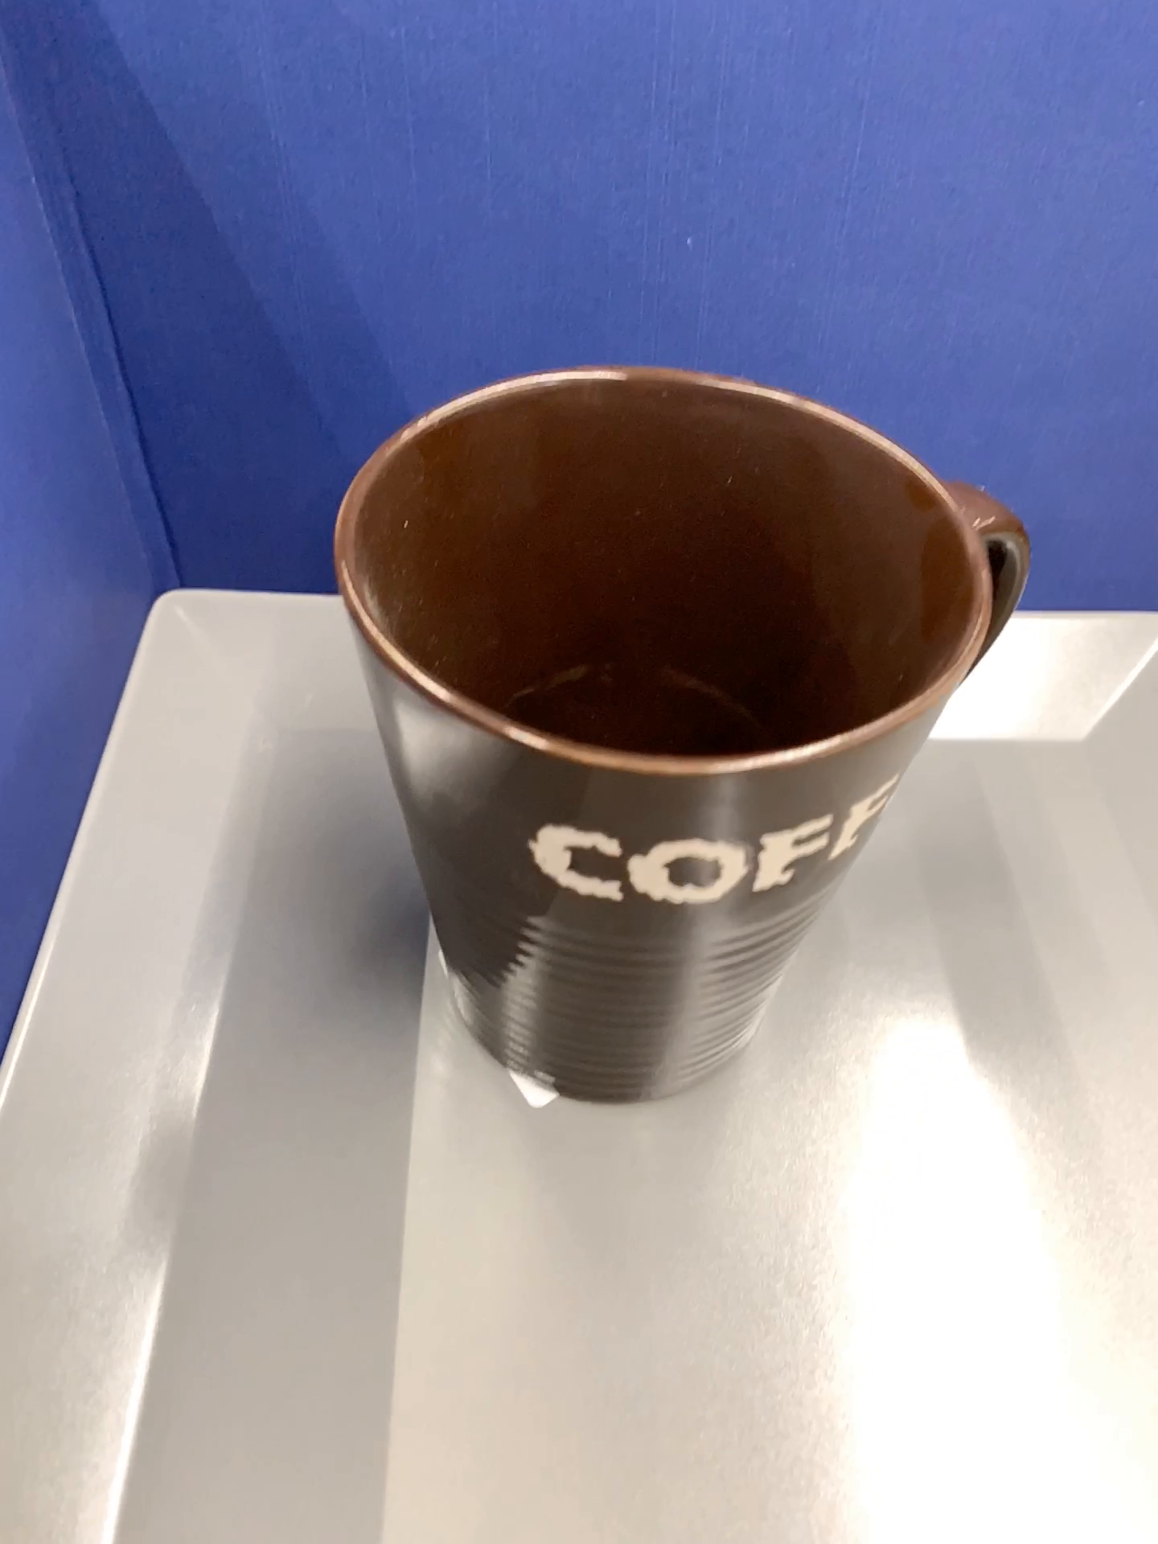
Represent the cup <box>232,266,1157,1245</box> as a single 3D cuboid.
[{"bbox_3d":[0.026,-0.009,0.212,0.128,0.098,0.089,-25,53,-25],"label":"cup"}]
